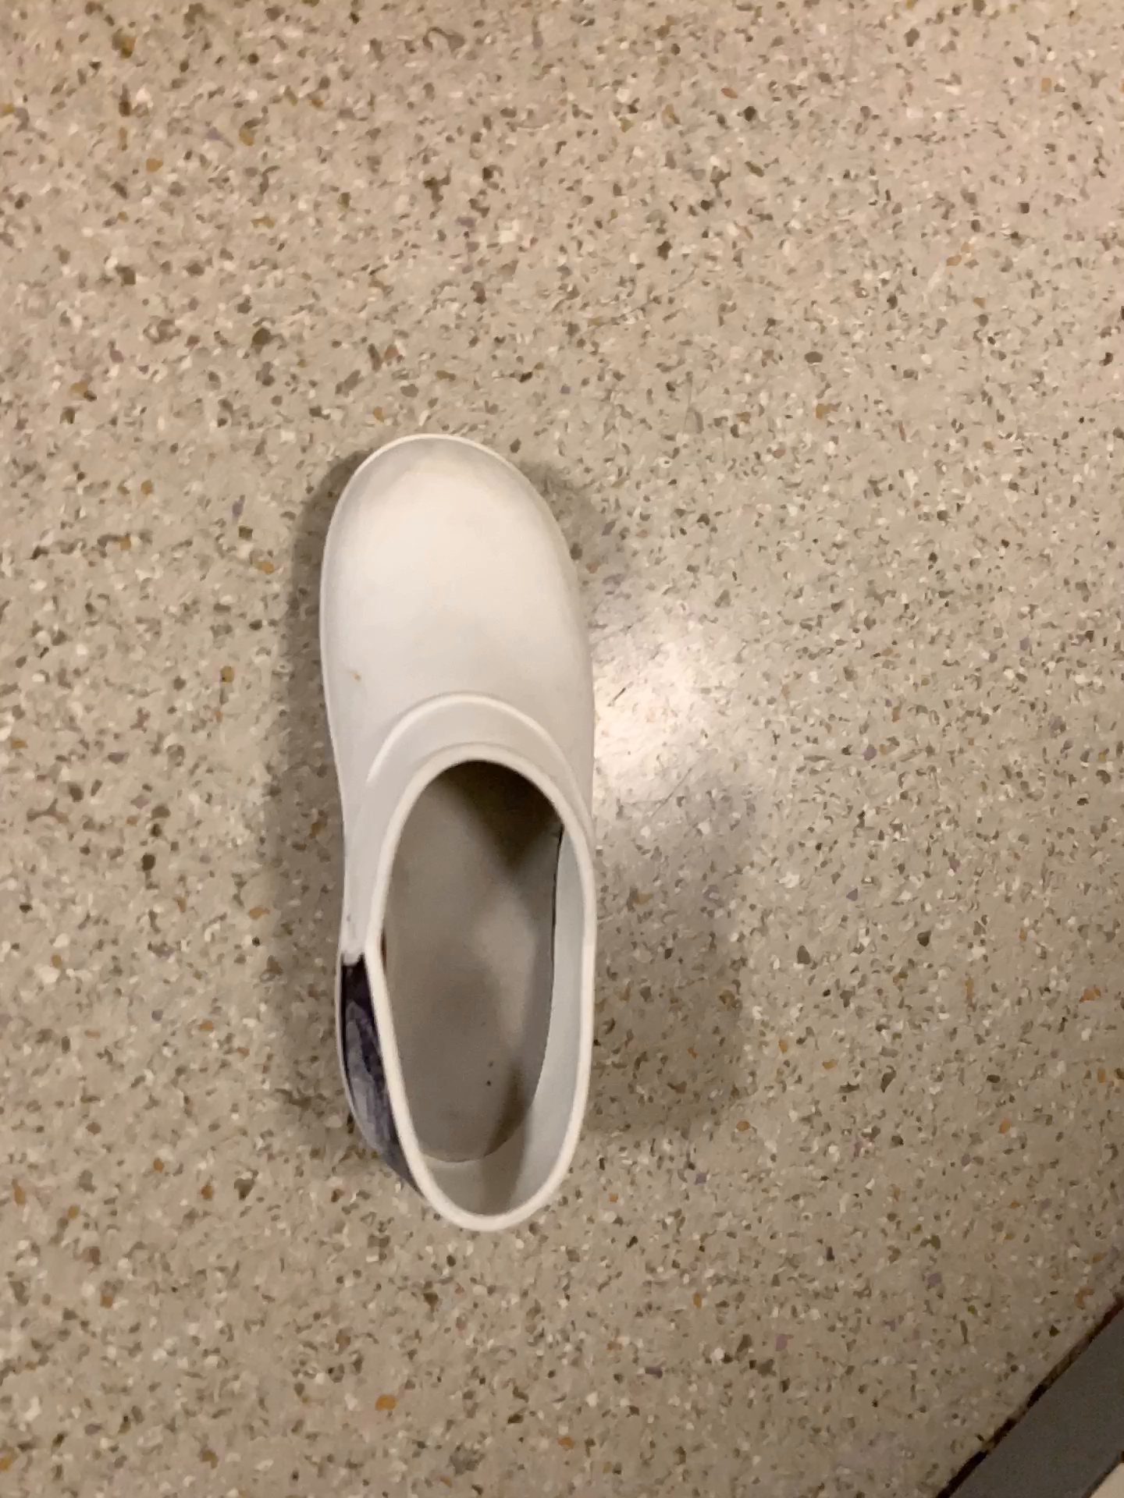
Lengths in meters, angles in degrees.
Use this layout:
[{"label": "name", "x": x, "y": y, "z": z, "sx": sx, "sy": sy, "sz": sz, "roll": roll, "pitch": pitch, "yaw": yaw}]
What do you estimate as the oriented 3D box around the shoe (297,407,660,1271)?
[{"label": "shoe", "x": -0.035, "y": 0.026, "z": 0.400, "sx": 0.107, "sy": 0.102, "sz": 0.254, "roll": 0, "pitch": 90, "yaw": -16}]
